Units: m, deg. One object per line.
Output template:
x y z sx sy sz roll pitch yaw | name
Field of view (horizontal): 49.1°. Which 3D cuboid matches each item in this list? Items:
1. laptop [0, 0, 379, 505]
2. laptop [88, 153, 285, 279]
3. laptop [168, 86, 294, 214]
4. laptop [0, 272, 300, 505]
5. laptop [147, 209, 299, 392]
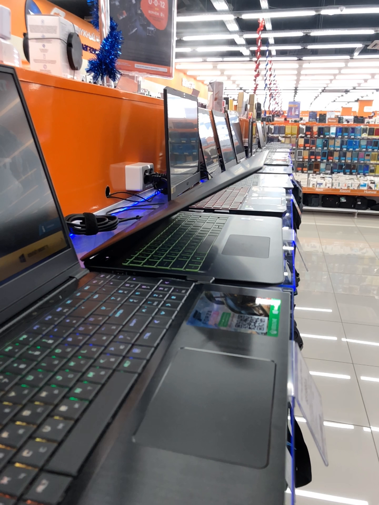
-0.076 -0.035 0.273 0.303 0.219 0.341 5 16 11 | laptop
0.031 -0.085 0.658 0.227 0.118 0.370 5 16 11 | laptop
0.114 -0.264 1.064 0.253 0.245 0.410 4 16 7 | laptop
-0.006 0.205 0.547 0.262 0.218 0.413 5 16 12 | laptop
0.092 0.072 0.963 0.274 0.255 0.398 3 17 12 | laptop
